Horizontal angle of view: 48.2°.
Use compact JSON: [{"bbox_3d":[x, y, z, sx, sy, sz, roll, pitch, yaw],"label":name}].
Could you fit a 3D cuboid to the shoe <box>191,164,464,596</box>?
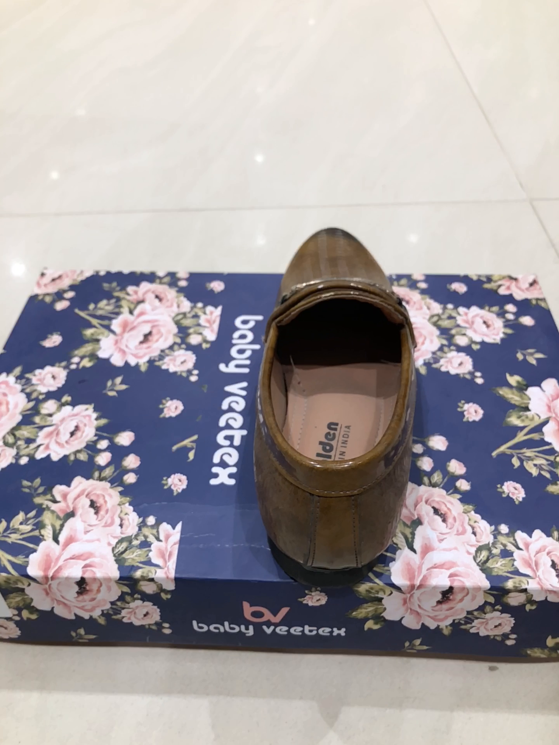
[{"bbox_3d":[0.020,-0.011,0.306,0.090,0.080,0.211,1,48,2],"label":"shoe"}]
